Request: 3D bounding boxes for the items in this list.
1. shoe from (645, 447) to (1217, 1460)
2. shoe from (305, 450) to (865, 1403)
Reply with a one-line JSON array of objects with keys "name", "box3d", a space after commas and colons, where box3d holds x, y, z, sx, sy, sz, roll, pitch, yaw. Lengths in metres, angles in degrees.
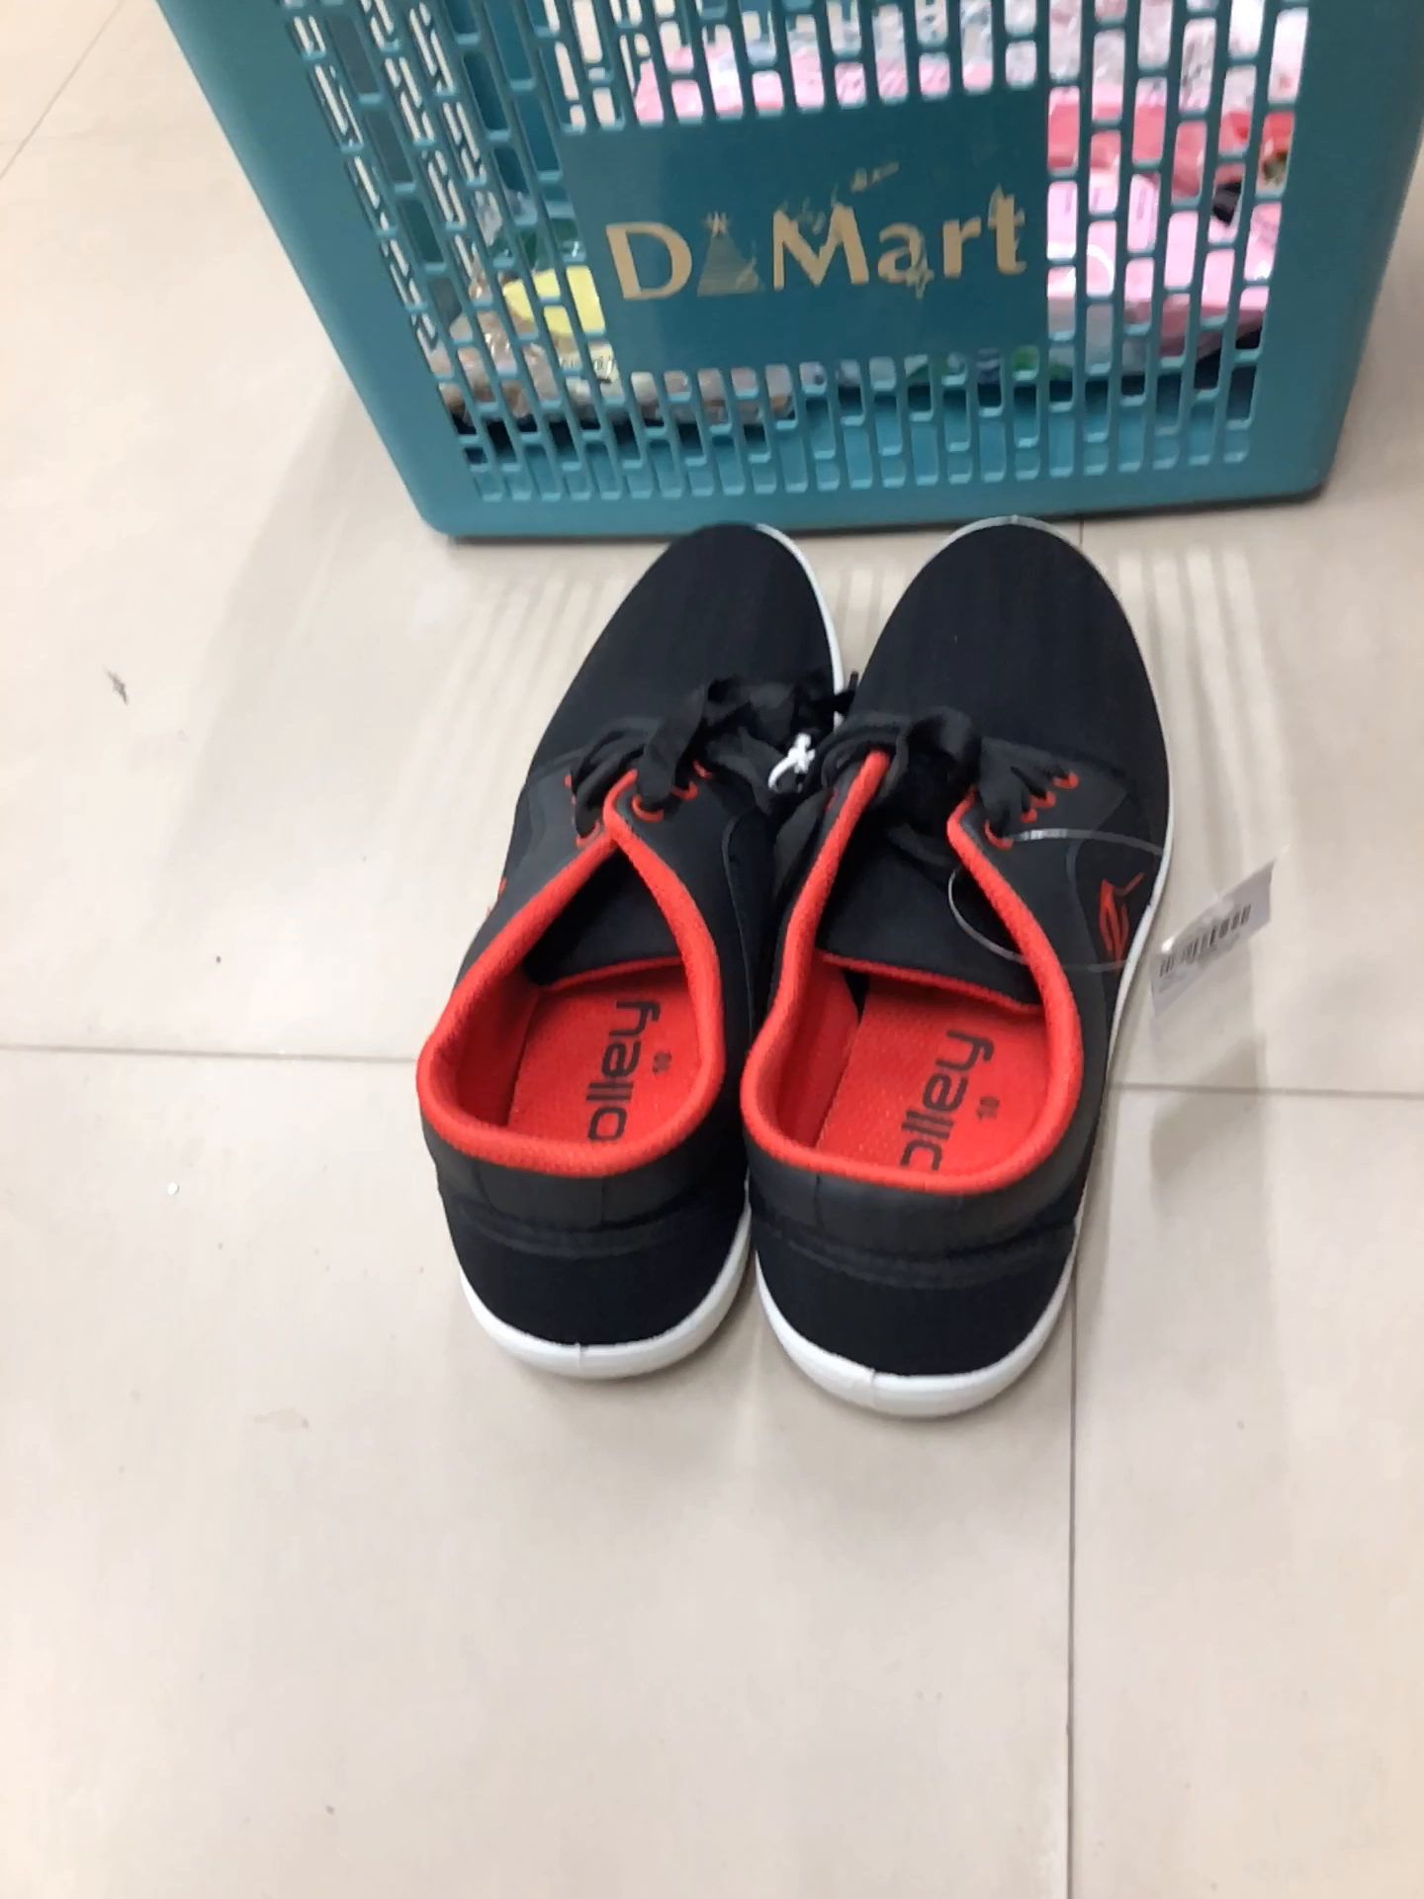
[{"name": "shoe", "box3d": [0.074, -0.013, 0.436, 0.105, 0.103, 0.261, 5, 56, 16]}, {"name": "shoe", "box3d": [-0.018, -0.015, 0.458, 0.105, 0.103, 0.261, -1, 55, 11]}]
